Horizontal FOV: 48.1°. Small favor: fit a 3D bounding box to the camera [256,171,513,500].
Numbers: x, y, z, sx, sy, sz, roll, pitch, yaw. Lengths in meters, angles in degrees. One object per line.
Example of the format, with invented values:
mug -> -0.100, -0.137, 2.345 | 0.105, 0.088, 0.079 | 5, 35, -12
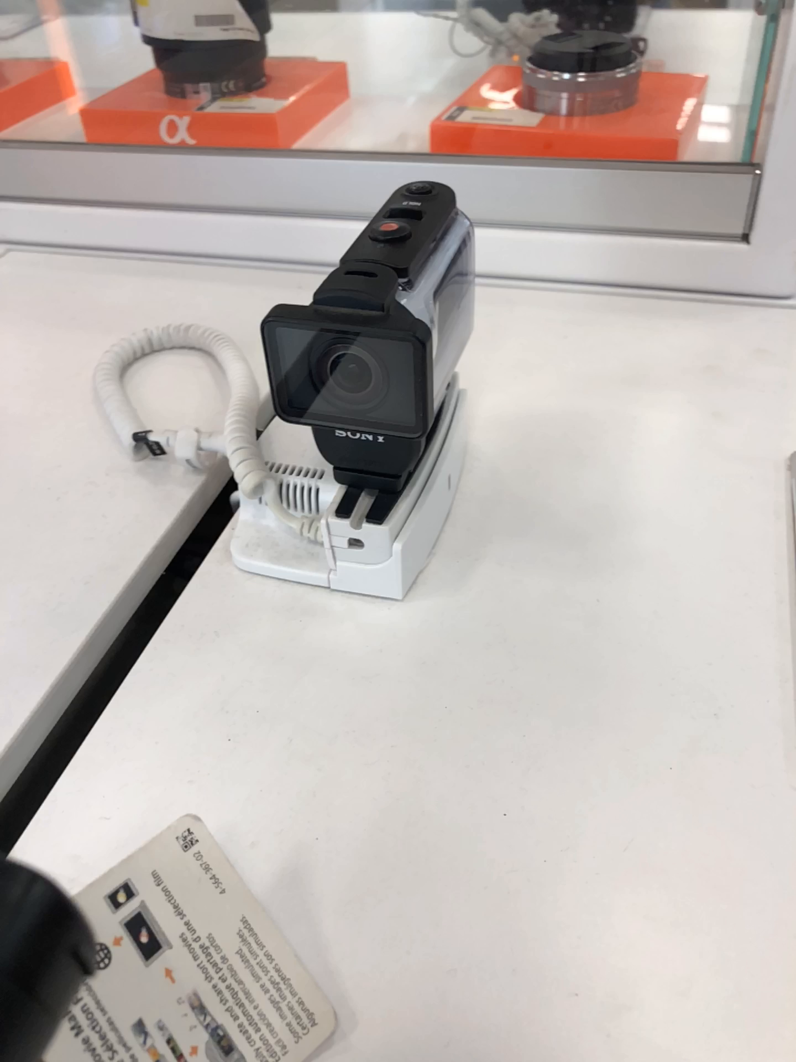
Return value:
camera -> 0.002, -0.063, 0.273 | 0.050, 0.060, 0.090 | 8, 41, 14
